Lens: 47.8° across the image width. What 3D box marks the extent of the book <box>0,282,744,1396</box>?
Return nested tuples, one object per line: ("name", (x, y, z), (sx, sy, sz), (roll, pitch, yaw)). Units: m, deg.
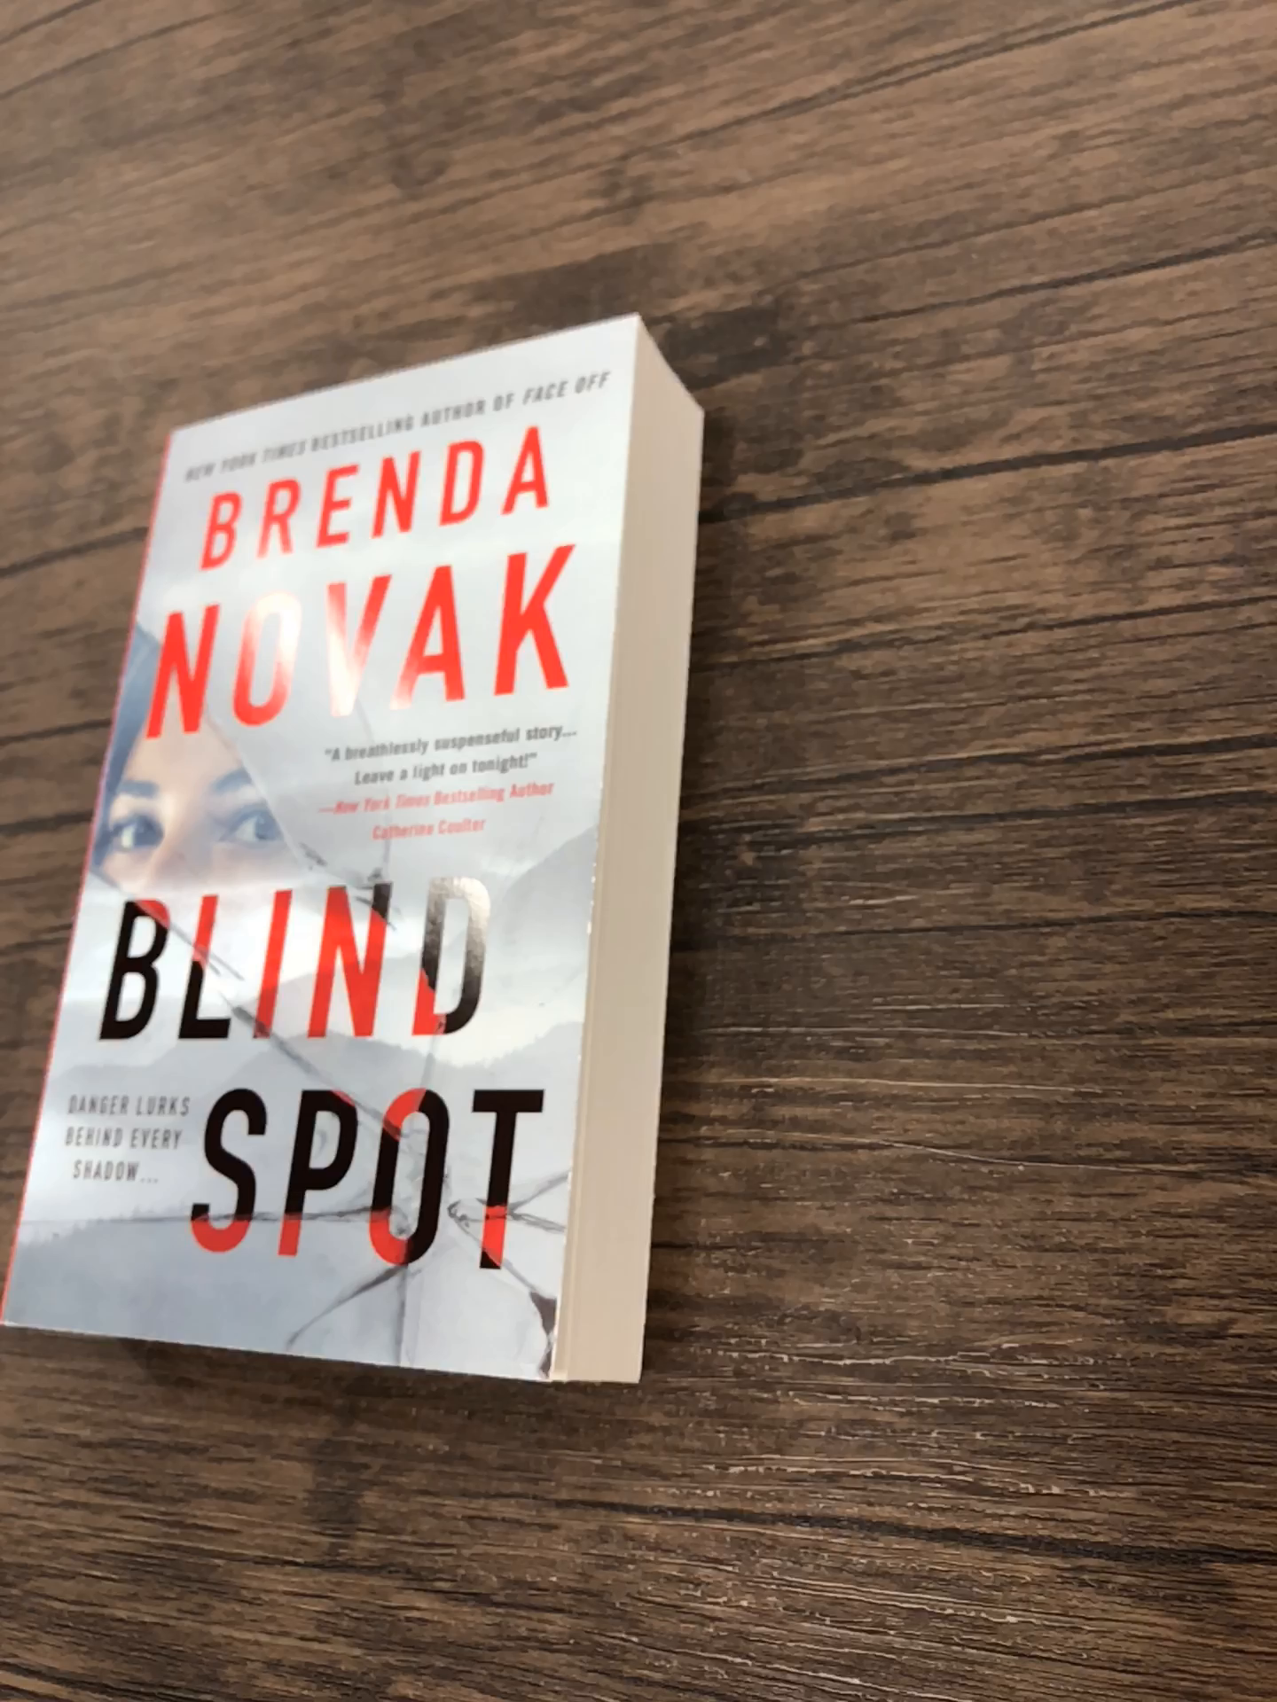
("book", (-0.043, -0.003, 0.254), (0.110, 0.038, 0.175), (-4, 71, 23))
